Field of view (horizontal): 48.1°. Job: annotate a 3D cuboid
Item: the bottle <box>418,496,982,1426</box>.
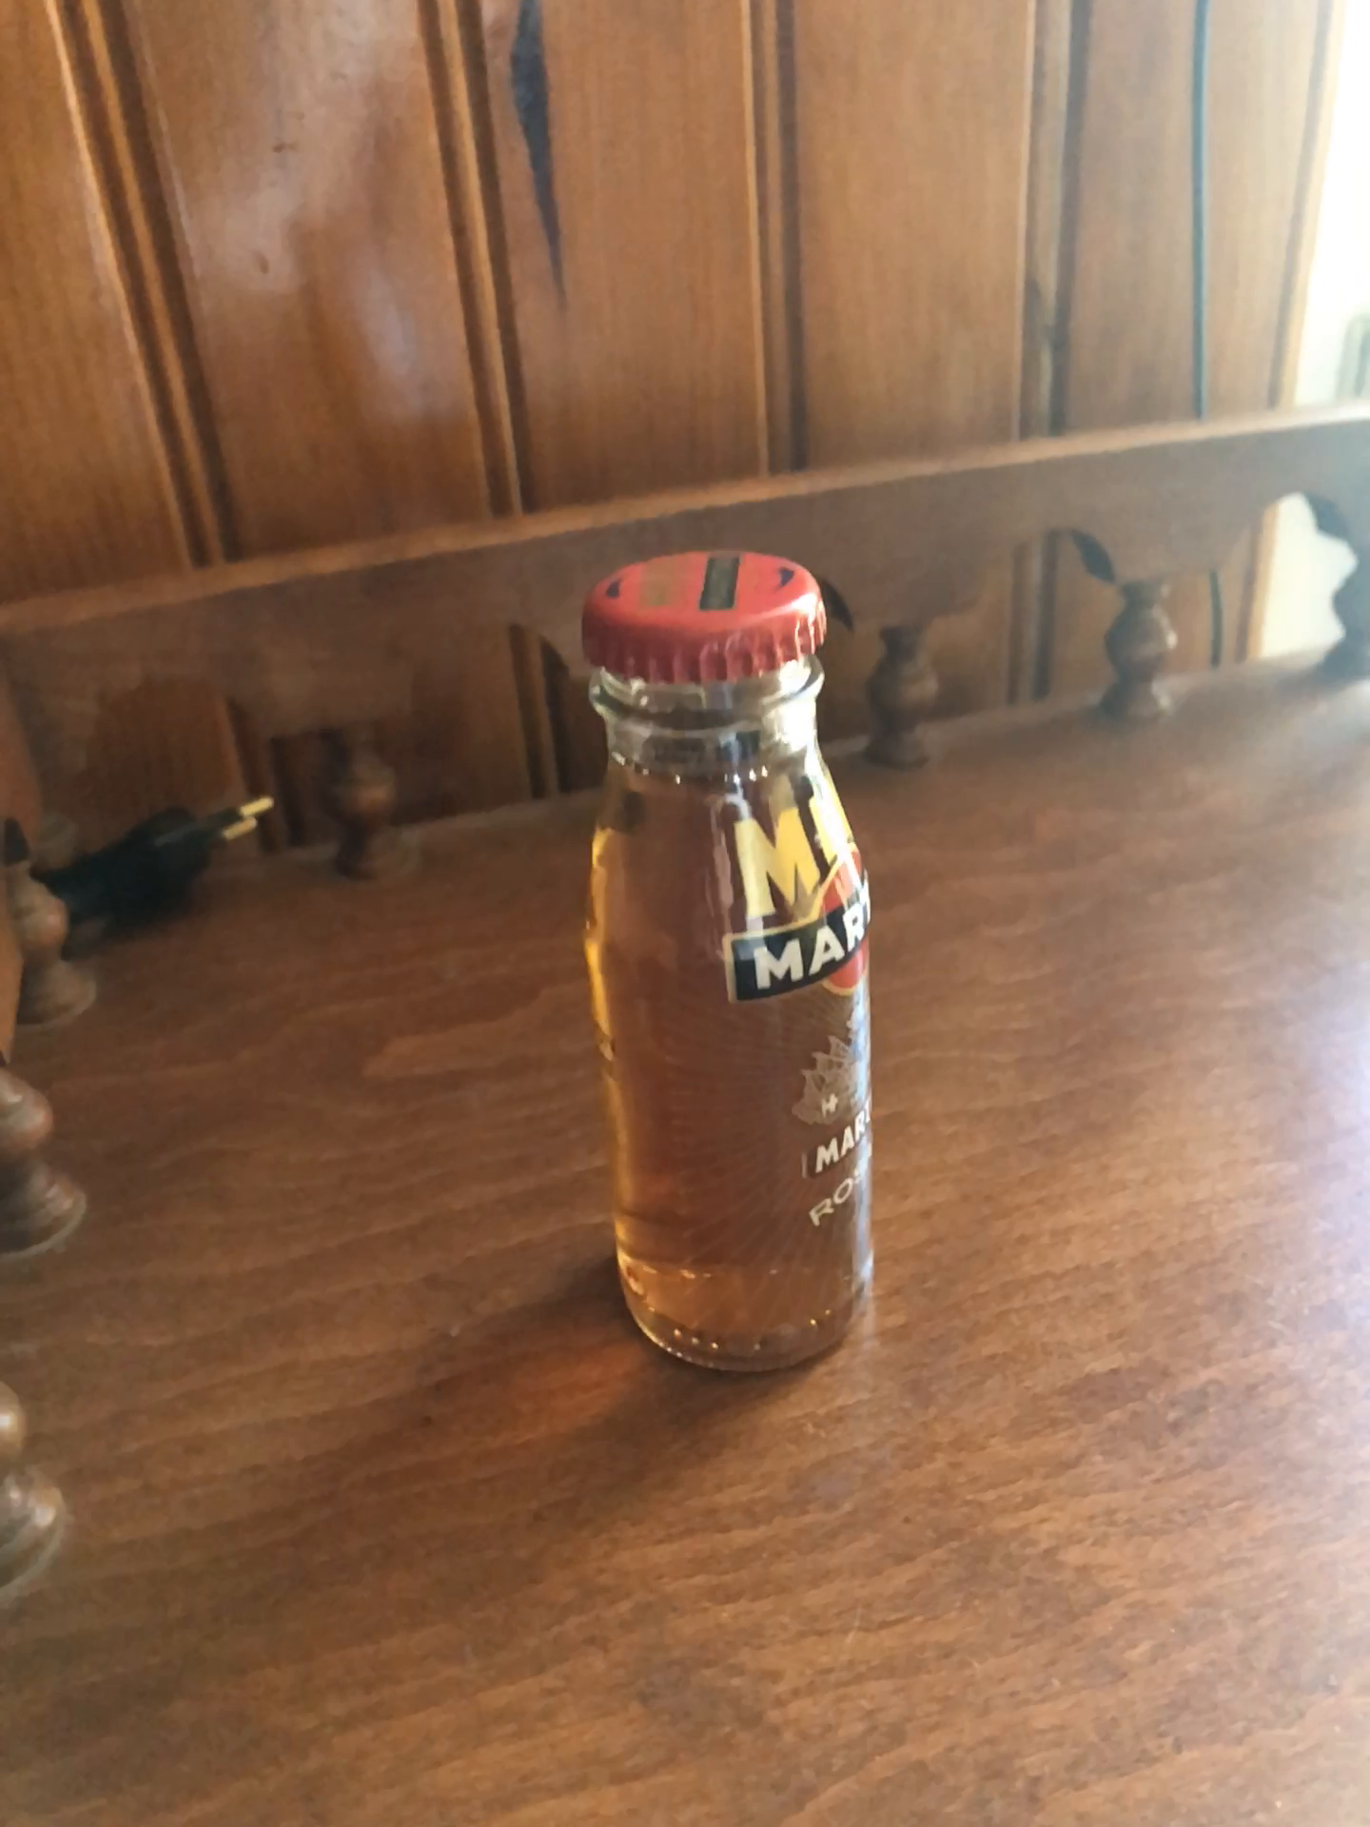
[{"bbox_3d":[0.007,0.006,0.211,0.050,0.109,0.050,-3,31,2],"label":"bottle"}]
